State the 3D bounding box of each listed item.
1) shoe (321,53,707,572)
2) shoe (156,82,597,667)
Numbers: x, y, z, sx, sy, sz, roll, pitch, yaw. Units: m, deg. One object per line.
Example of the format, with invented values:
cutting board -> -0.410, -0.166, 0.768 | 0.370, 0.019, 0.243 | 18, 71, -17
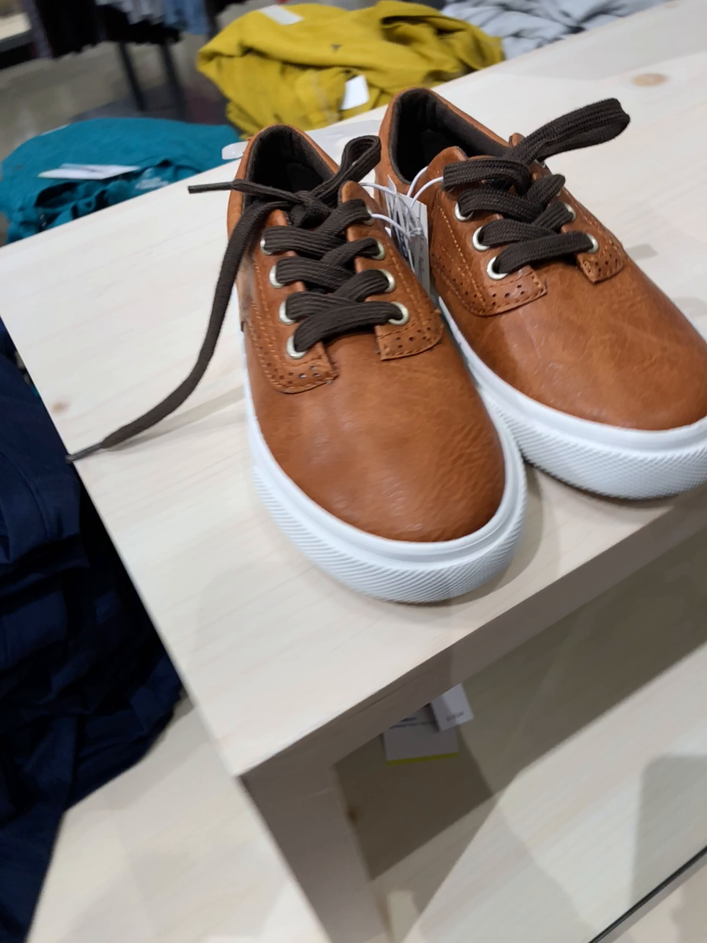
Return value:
shoe -> 0.068, -0.078, 0.302 | 0.090, 0.080, 0.211 | -19, 45, -9
shoe -> -0.007, -0.055, 0.298 | 0.090, 0.090, 0.221 | -16, 45, -6
